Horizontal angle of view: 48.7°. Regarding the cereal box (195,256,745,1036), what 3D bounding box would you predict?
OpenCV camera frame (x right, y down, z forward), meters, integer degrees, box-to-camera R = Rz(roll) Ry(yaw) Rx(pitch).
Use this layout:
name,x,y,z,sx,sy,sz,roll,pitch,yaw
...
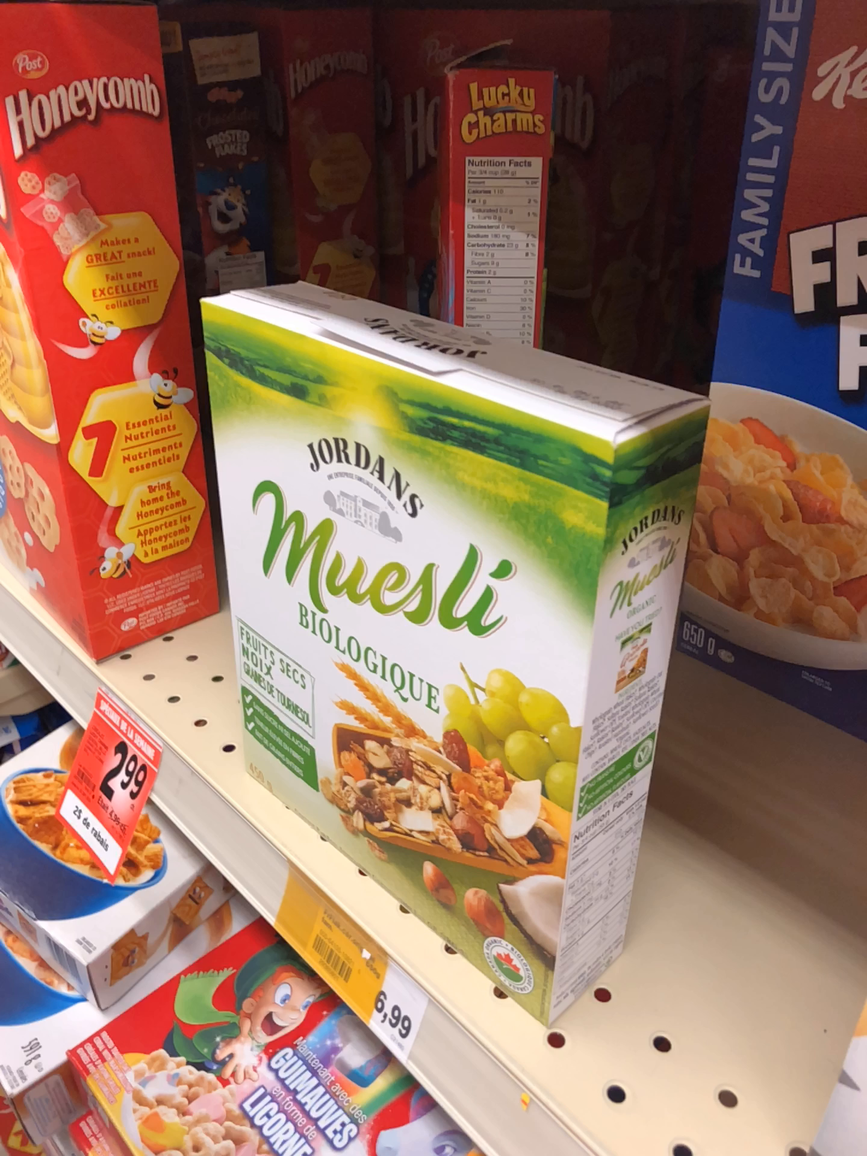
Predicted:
name,x,y,z,sx,sy,sz,roll,pitch,yaw
cereal box,-0.002,0.017,0.339,0.050,0.218,0.181,-25,39,-37
